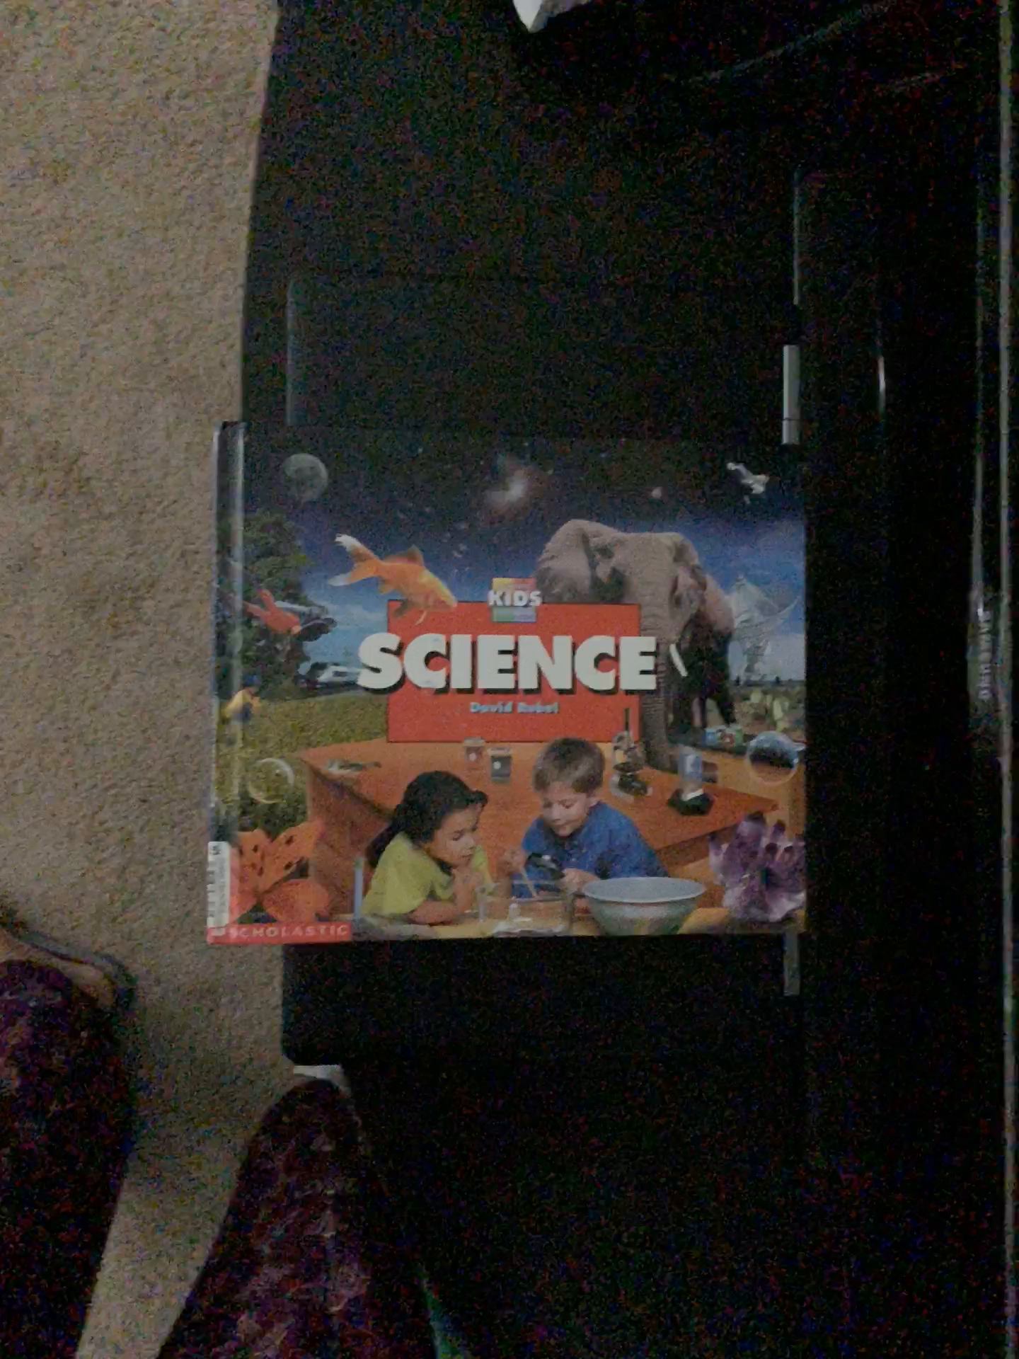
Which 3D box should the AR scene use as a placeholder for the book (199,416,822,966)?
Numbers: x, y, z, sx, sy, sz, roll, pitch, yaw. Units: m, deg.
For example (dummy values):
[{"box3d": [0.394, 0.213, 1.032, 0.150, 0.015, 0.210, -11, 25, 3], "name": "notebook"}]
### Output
[{"box3d": [0.004, 0.007, 0.487, 0.280, 0.030, 0.240, 1, 89, -6], "name": "book"}]
